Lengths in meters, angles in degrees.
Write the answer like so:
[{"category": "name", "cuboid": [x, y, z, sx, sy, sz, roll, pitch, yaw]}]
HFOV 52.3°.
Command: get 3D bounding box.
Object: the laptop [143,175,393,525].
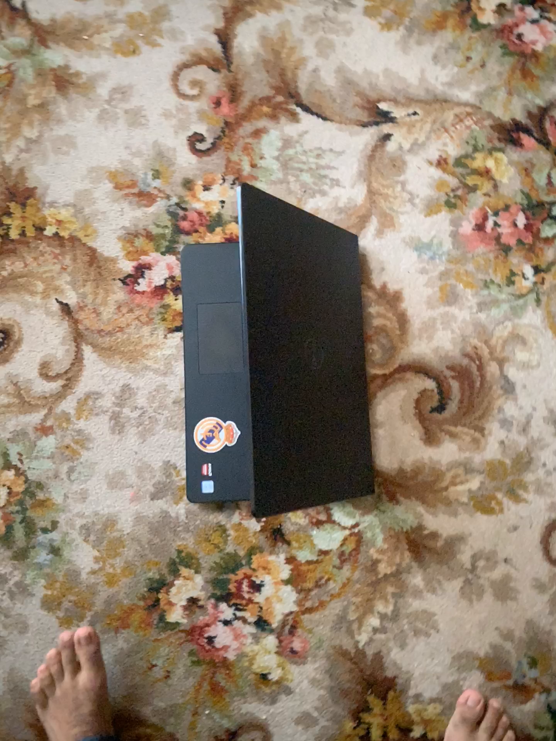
[{"category": "laptop", "cuboid": [-0.012, -0.017, 0.707, 0.251, 0.194, 0.367, -3, 84, 0]}]
